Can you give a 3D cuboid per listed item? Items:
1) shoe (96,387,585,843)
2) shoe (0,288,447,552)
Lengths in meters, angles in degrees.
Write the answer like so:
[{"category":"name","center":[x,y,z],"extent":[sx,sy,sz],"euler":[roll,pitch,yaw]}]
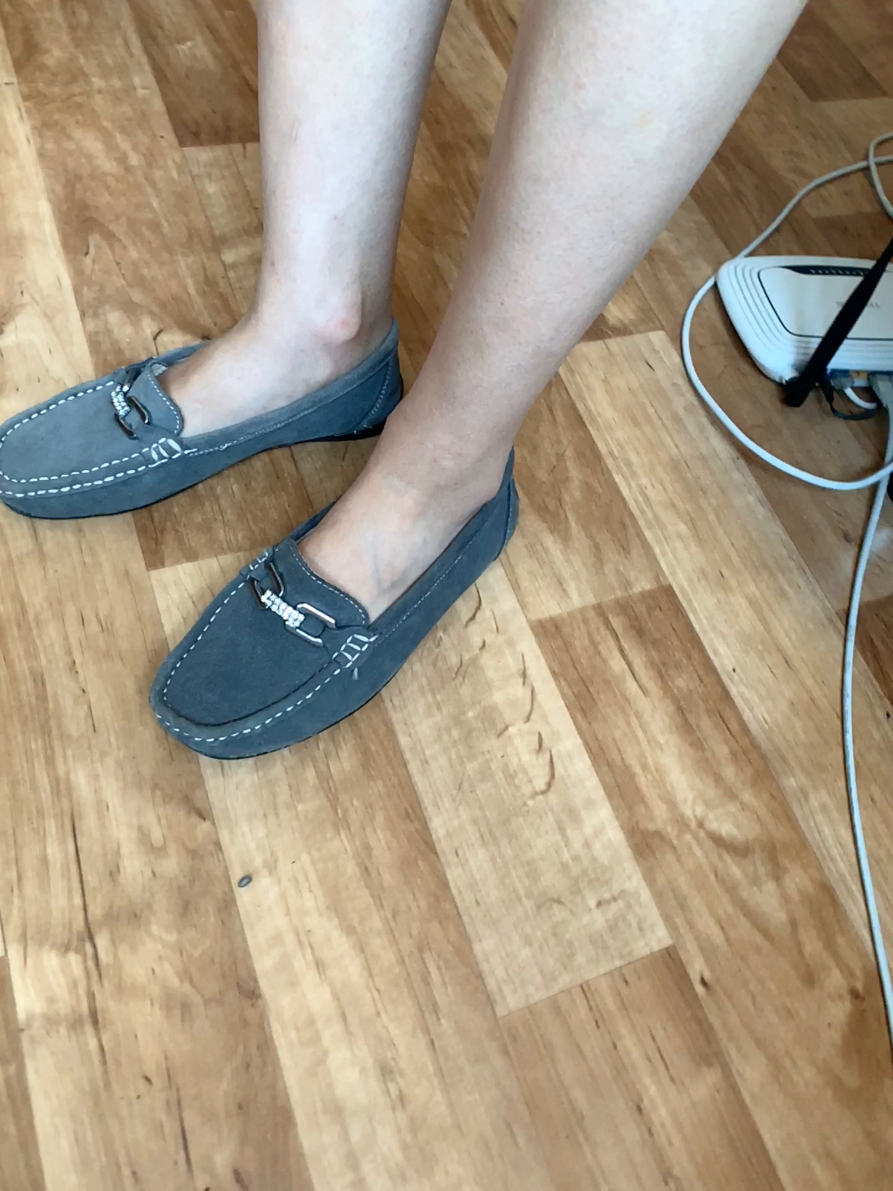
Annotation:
[{"category":"shoe","center":[-0.045,0.000,0.477],"extent":[0.100,0.060,0.240],"euler":[42,61,11]},{"category":"shoe","center":[-0.131,-0.106,0.527],"extent":[0.240,0.060,0.090],"euler":[-16,62,-21]}]
